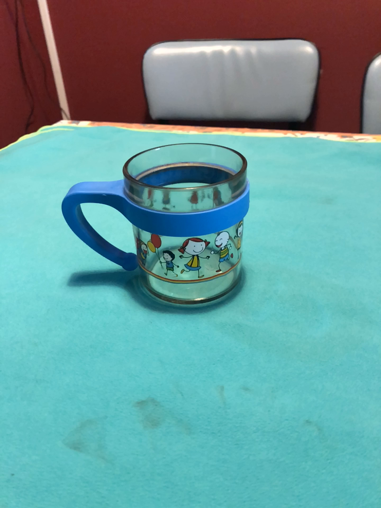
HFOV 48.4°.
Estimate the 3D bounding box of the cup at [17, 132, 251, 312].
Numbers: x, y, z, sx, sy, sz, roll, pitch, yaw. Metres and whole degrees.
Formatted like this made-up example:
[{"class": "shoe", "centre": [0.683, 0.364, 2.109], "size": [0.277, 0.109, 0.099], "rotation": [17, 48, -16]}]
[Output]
[{"class": "cup", "centre": [-0.028, -0.025, 0.296], "size": [0.130, 0.089, 0.091], "rotation": [-2, 32, 3]}]
